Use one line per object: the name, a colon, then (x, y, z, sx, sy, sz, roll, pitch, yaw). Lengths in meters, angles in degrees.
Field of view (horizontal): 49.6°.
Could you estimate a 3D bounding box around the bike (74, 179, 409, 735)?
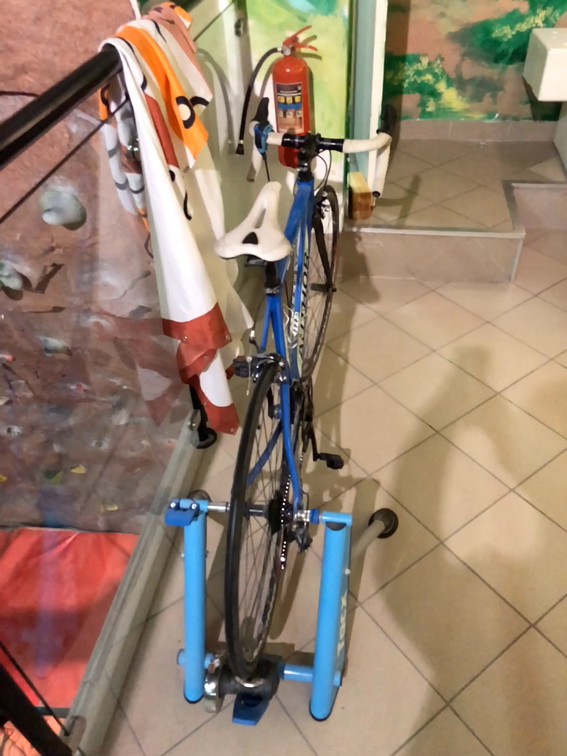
bike: (0.073, 0.024, 1.722, 0.465, 0.682, 1.560, 5, 37, 9)
